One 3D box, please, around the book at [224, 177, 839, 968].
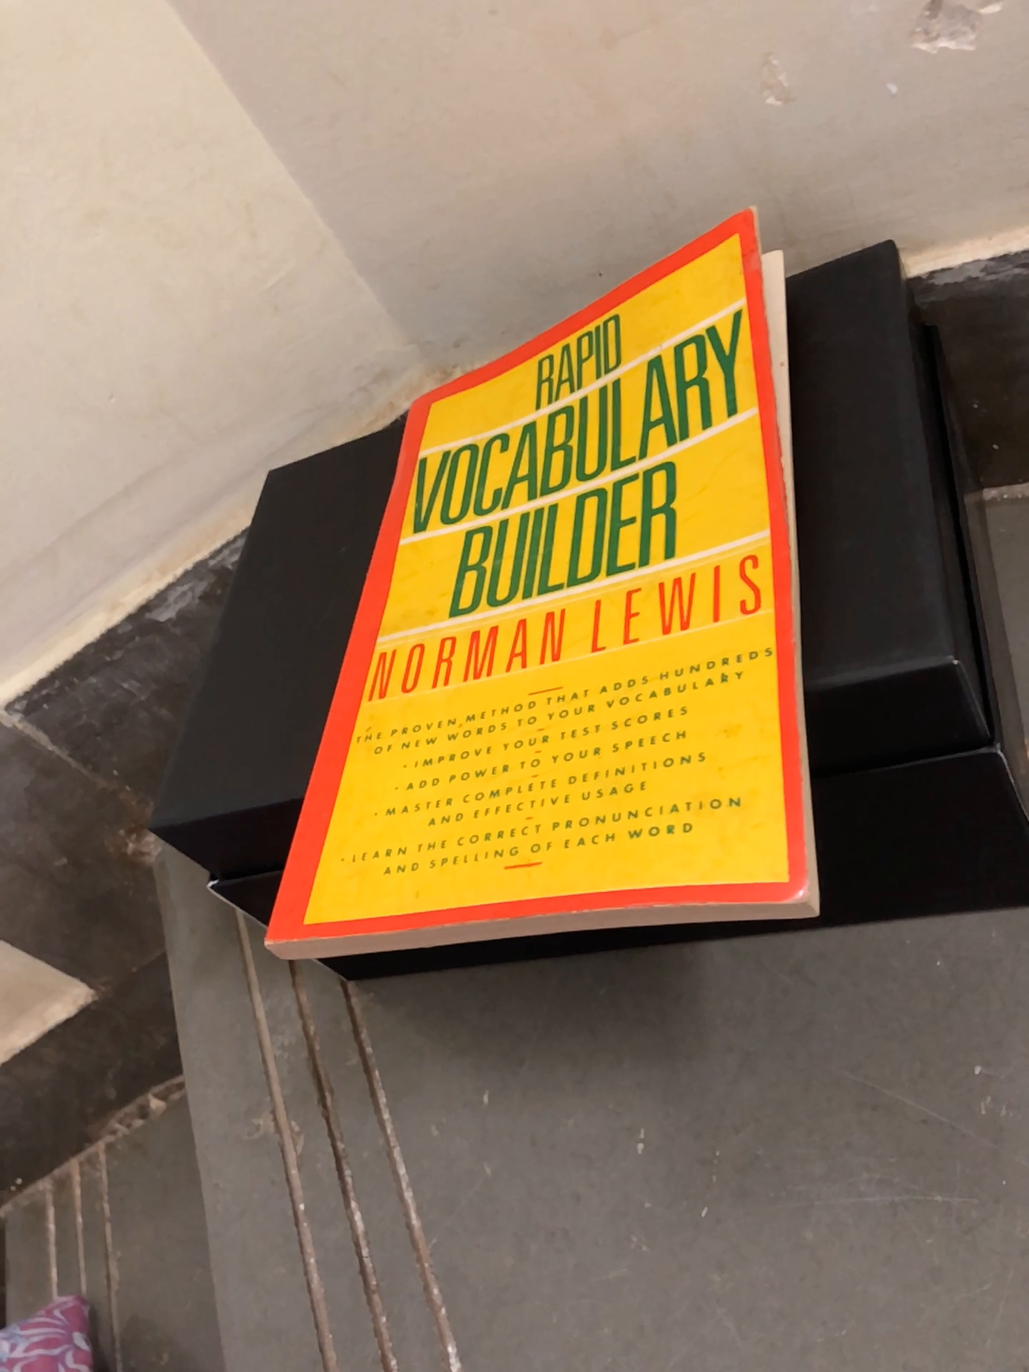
[{"bbox_3d":[0.015,-0.040,0.320,0.140,0.030,0.230,-11,49,28],"label":"book"}]
